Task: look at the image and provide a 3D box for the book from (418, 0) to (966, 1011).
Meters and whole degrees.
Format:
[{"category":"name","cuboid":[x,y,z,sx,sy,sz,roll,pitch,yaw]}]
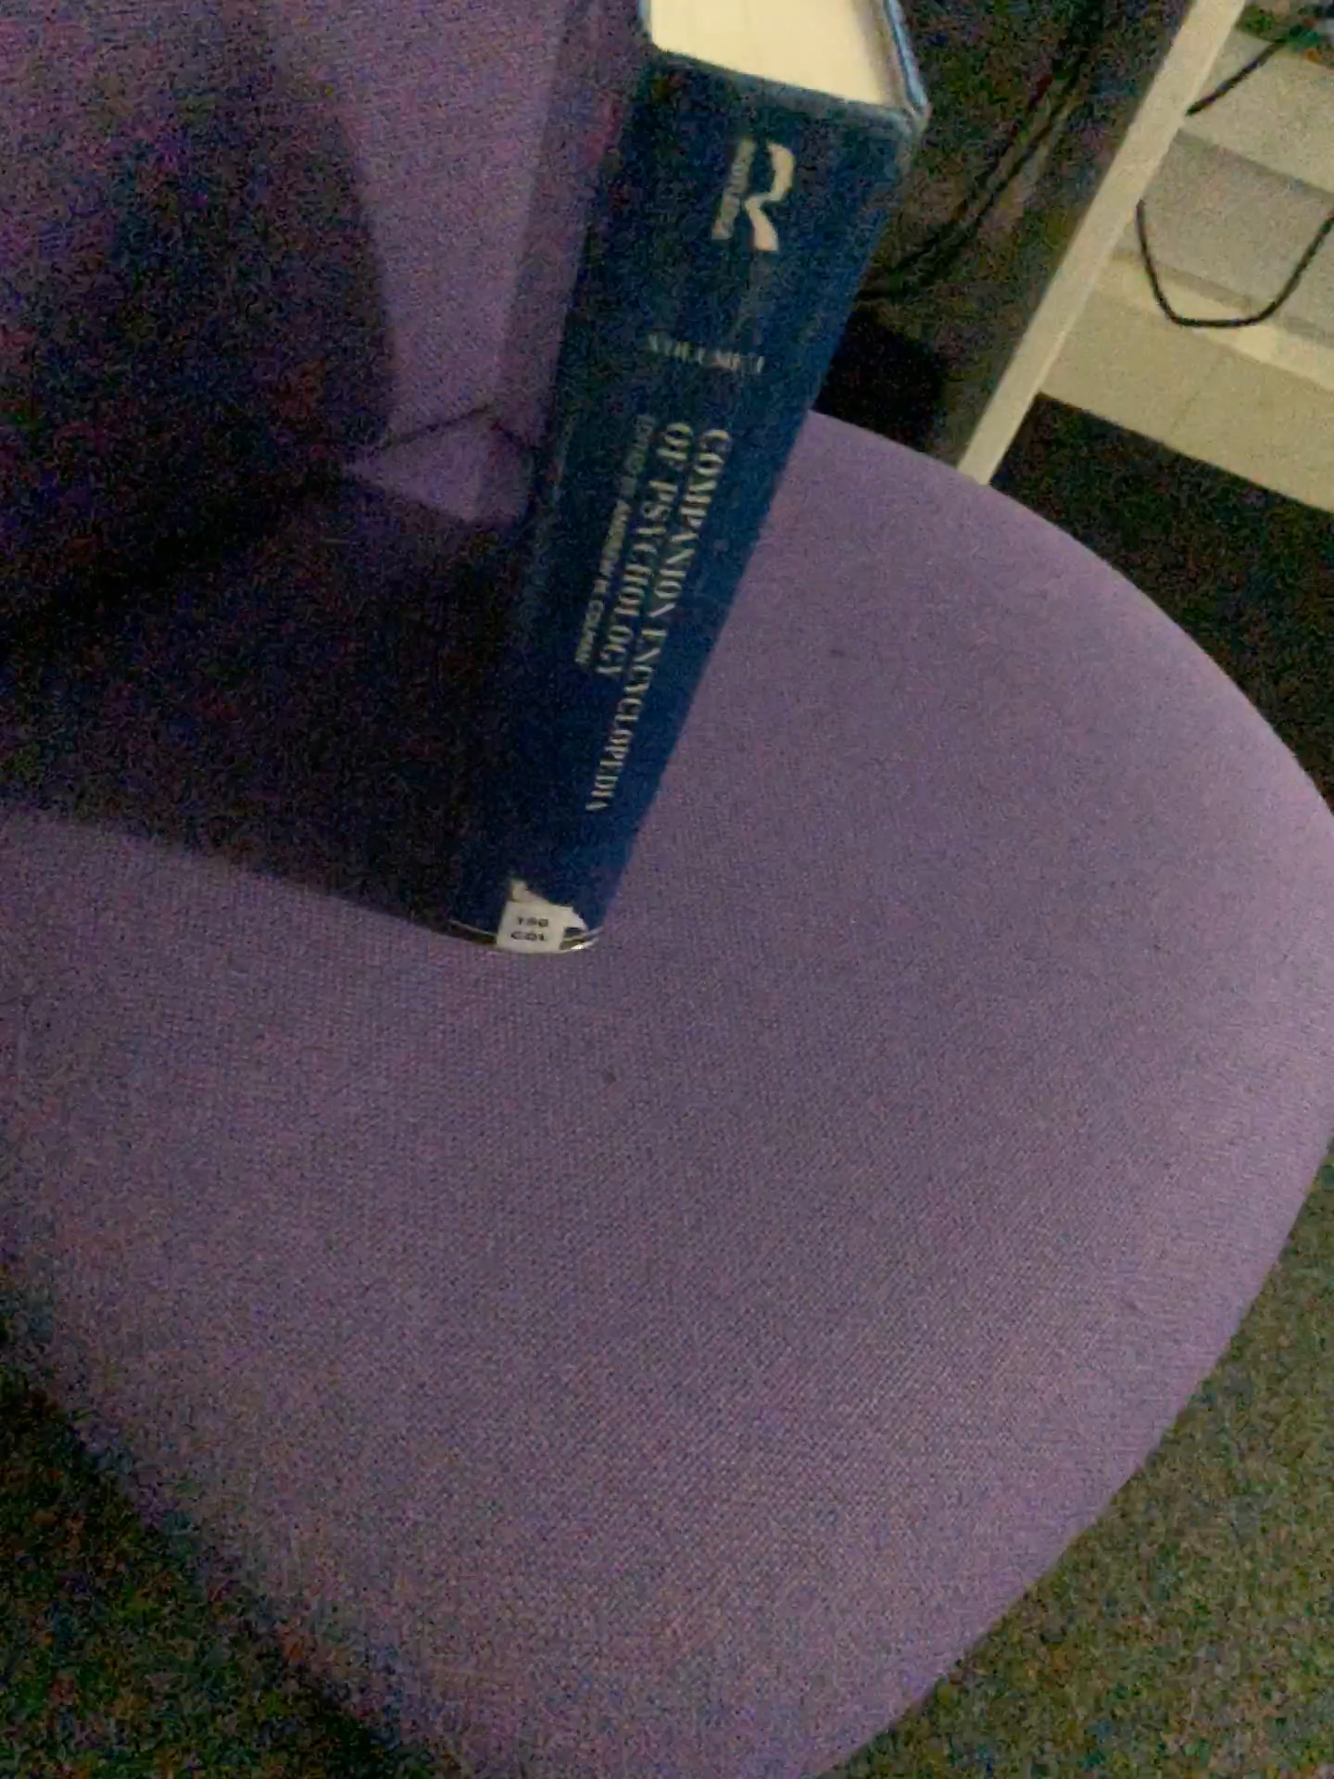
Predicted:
[{"category":"book","cuboid":[-0.016,-0.114,0.366,0.052,0.264,0.183,8,54,-13]}]
